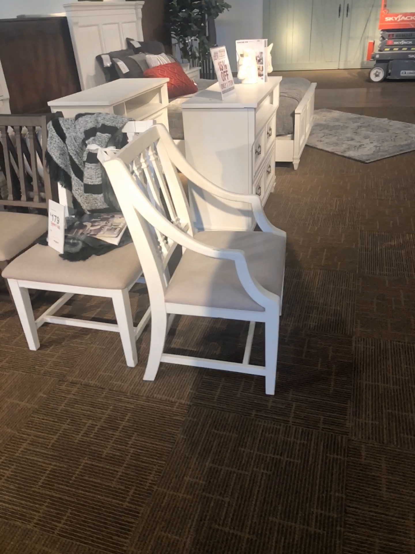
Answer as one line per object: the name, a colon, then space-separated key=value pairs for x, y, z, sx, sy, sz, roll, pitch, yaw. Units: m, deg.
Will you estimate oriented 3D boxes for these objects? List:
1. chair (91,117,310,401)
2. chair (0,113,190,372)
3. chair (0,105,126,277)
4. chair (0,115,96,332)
chair: x=0.048 y=-0.110 z=1.813 sx=0.630 sy=0.885 sz=0.653 roll=4 pitch=30 yaw=14
chair: x=-0.475 y=-0.185 z=1.971 sx=0.560 sy=0.885 sz=0.643 roll=6 pitch=31 yaw=16
chair: x=-1.112 y=-0.575 z=2.892 sx=0.870 sy=0.885 sz=0.603 roll=6 pitch=31 yaw=17
chair: x=-1.088 y=-0.296 z=2.291 sx=0.680 sy=0.885 sz=0.583 roll=6 pitch=31 yaw=16
